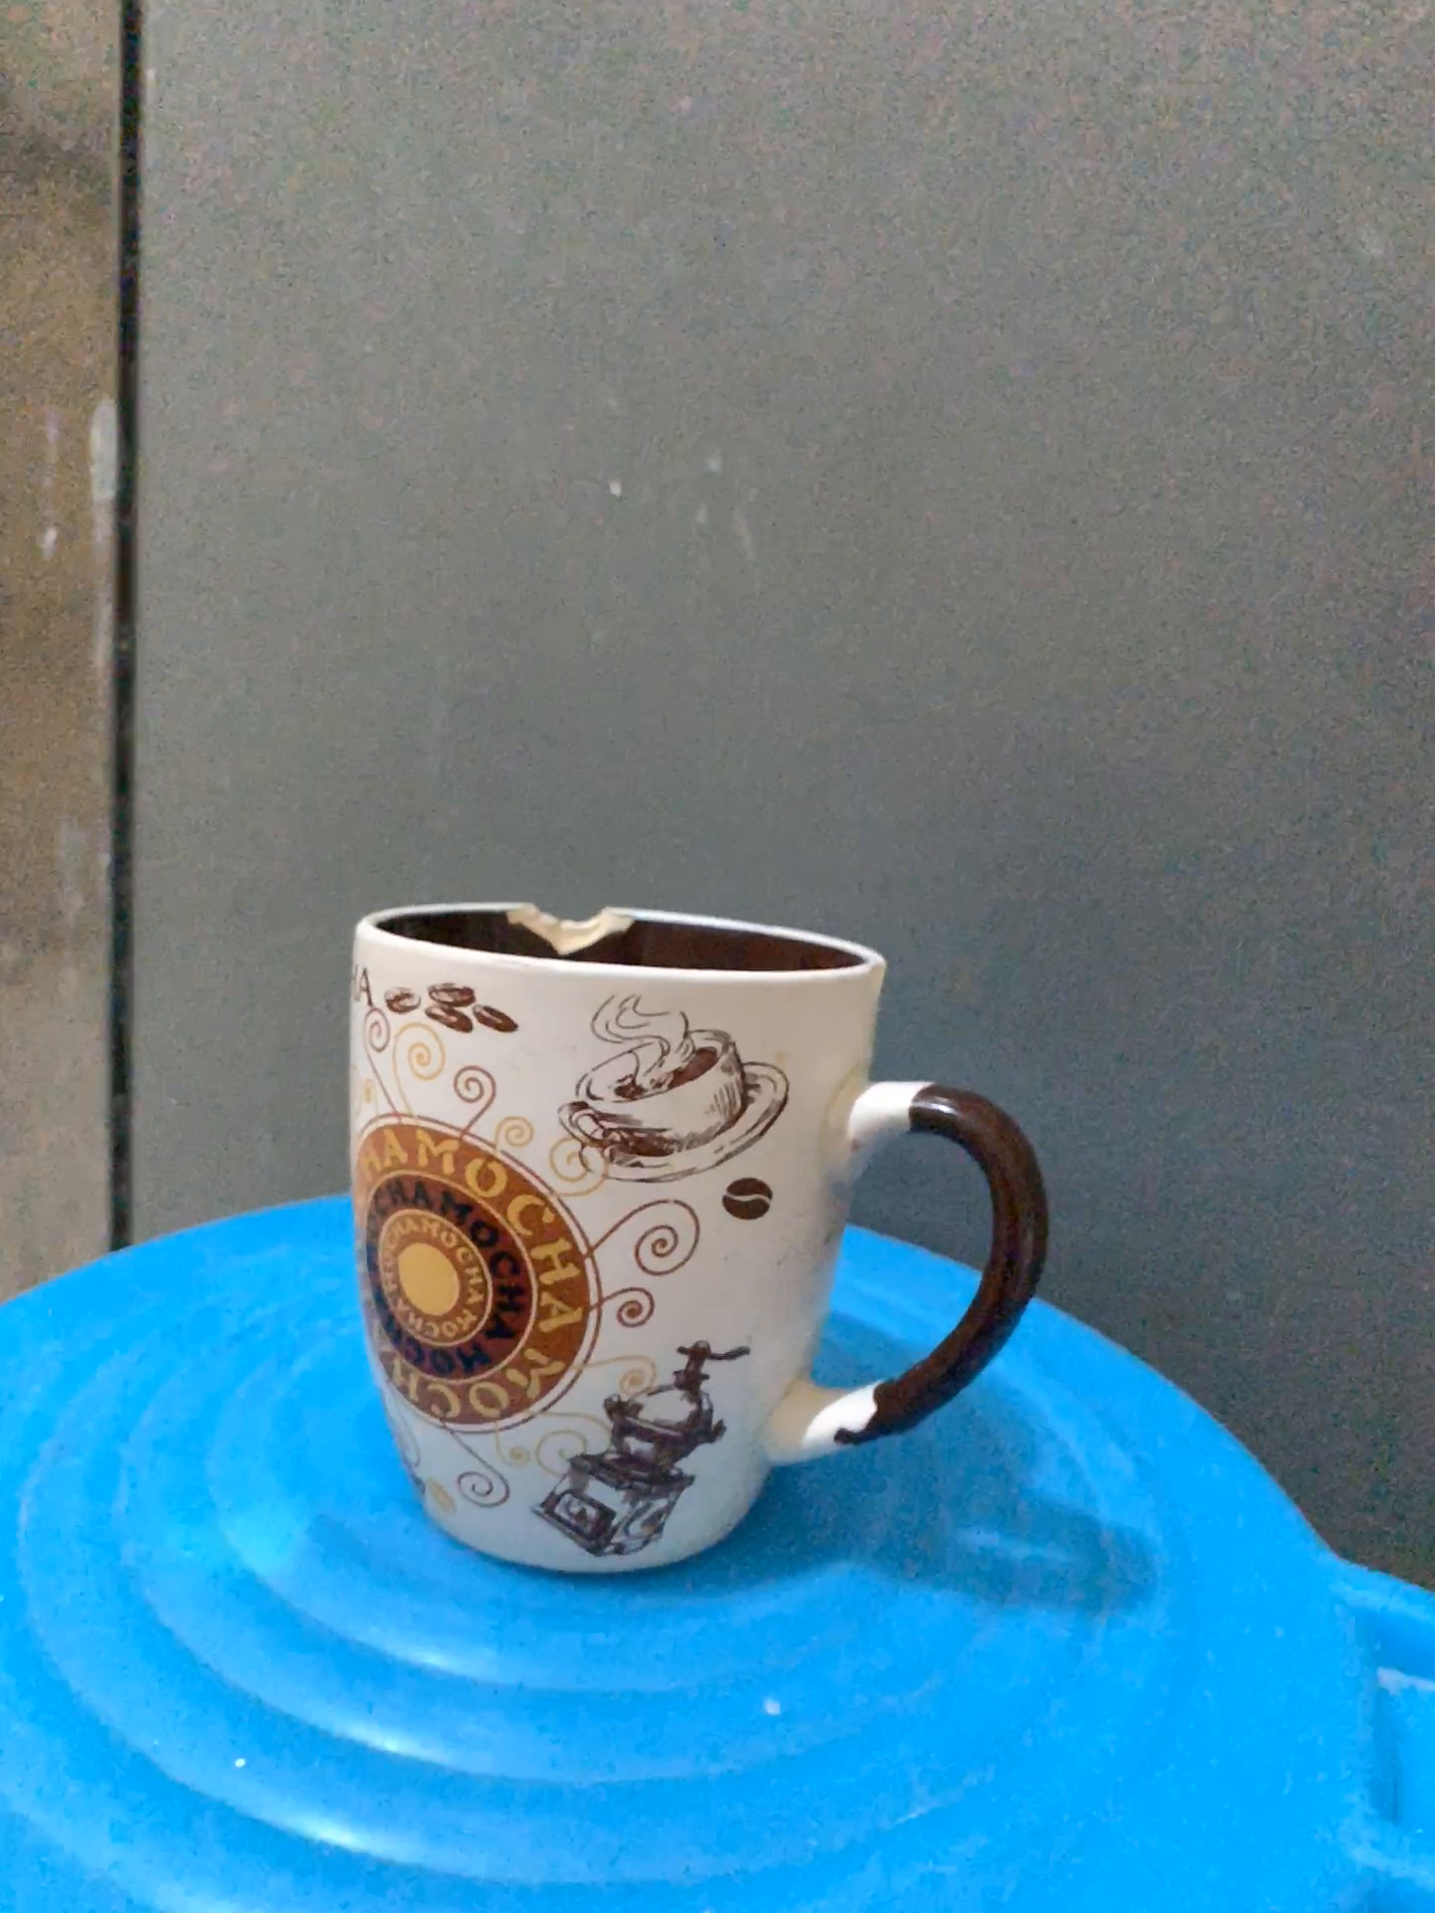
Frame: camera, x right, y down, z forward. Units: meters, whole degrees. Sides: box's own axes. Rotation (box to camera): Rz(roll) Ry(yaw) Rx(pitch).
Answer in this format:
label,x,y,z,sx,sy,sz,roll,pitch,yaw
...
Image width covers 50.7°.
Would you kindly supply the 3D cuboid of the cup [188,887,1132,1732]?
label,x,y,z,sx,sy,sz,roll,pitch,yaw
cup,-0.008,0.037,0.228,0.110,0.080,0.080,9,8,30
